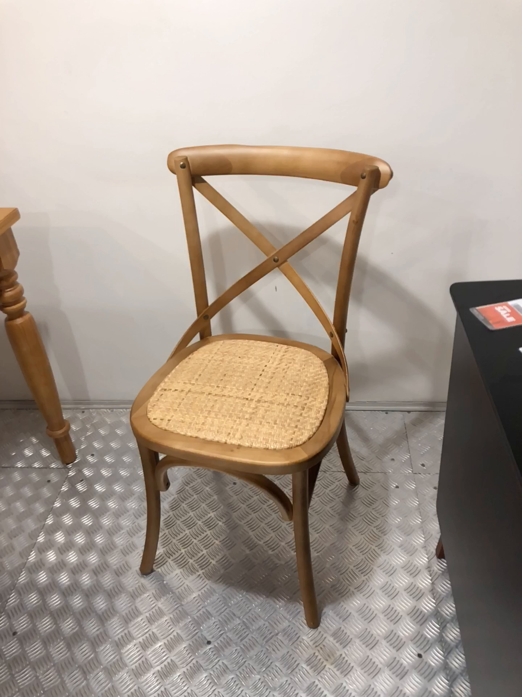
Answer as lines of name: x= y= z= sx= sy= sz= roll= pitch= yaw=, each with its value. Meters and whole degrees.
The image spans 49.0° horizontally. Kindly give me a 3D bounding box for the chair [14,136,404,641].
chair: x=-0.018 y=0.068 z=1.255 sx=0.500 sy=0.874 sz=0.544 roll=10 pitch=37 yaw=21
